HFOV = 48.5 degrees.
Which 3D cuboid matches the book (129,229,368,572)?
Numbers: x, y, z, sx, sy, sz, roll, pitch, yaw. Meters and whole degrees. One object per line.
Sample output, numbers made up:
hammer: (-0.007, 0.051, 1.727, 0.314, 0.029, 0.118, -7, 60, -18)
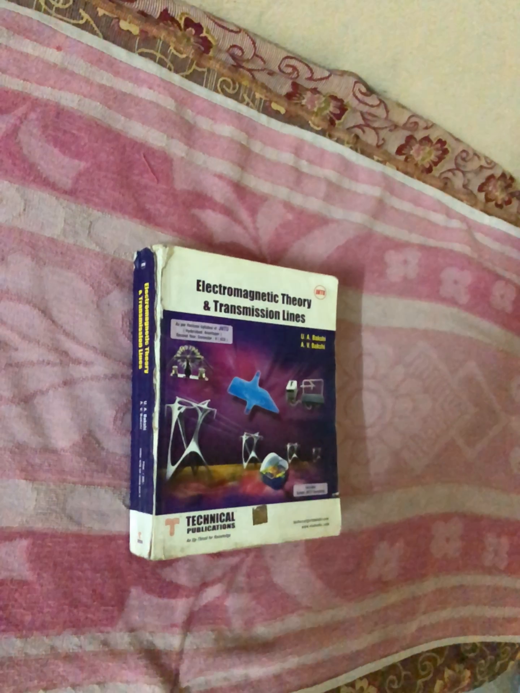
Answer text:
book: (-0.005, 0.044, 0.502, 0.201, 0.060, 0.250, 4, 81, -33)
